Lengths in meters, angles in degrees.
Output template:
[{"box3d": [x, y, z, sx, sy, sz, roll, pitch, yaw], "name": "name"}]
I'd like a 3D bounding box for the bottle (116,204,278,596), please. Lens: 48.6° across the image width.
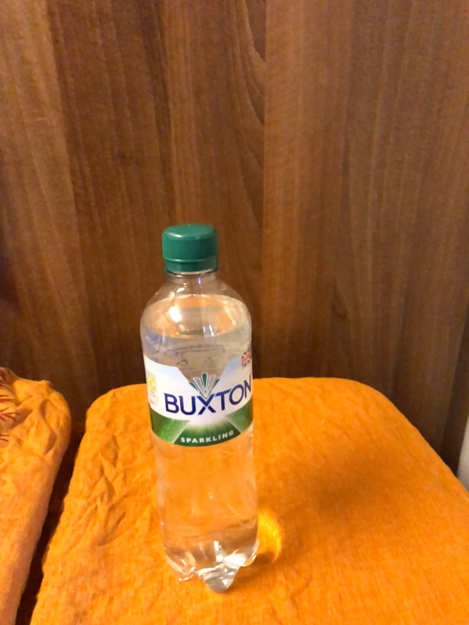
[{"box3d": [-0.018, 0.055, 0.302, 0.070, 0.219, 0.070, 0, 25, 0], "name": "bottle"}]
